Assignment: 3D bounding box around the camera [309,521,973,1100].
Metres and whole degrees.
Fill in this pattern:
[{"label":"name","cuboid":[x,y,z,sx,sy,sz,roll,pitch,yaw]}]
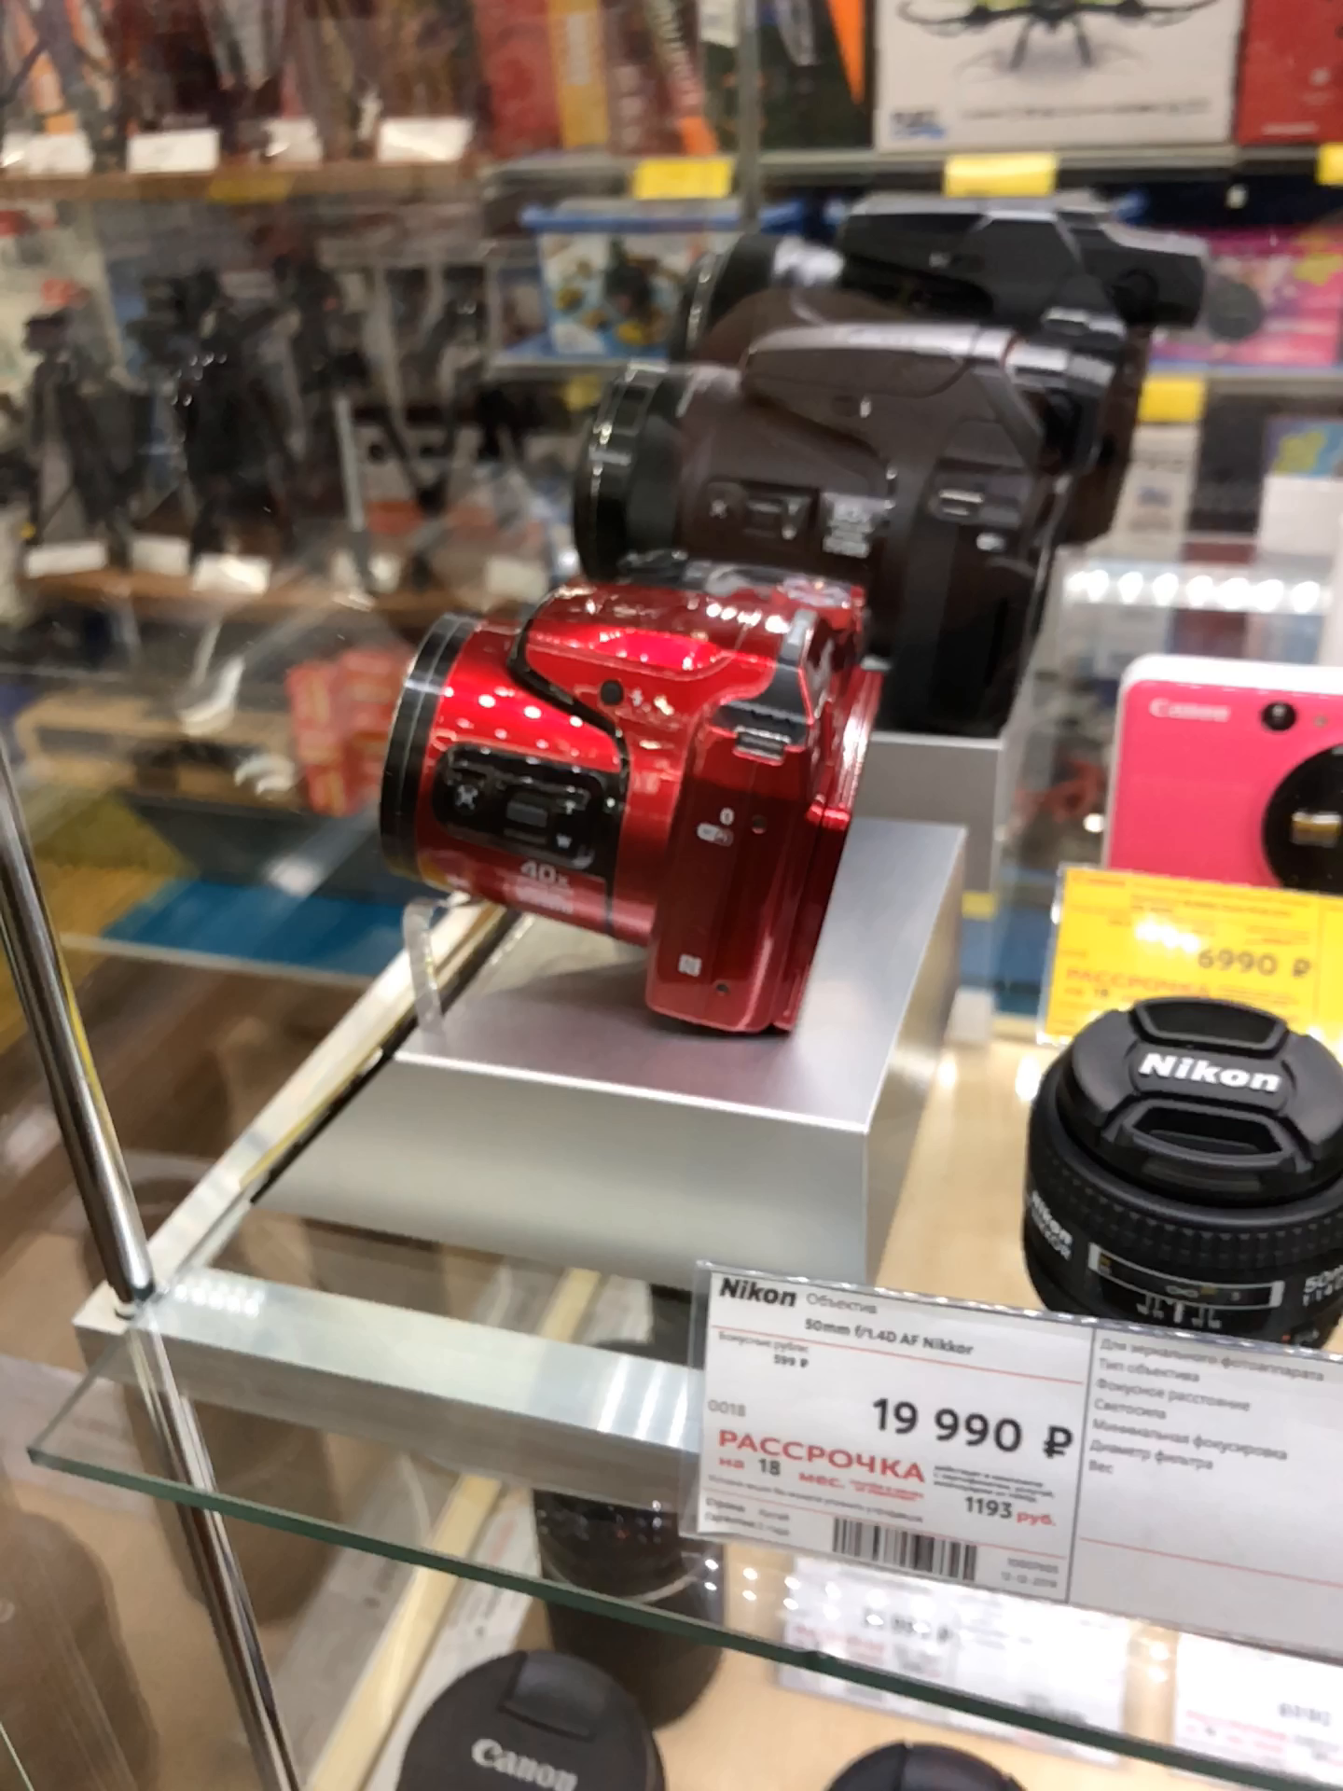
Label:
[{"label":"camera","cuboid":[0.002,-0.029,0.346,0.110,0.076,0.121,7,31,18]}]
